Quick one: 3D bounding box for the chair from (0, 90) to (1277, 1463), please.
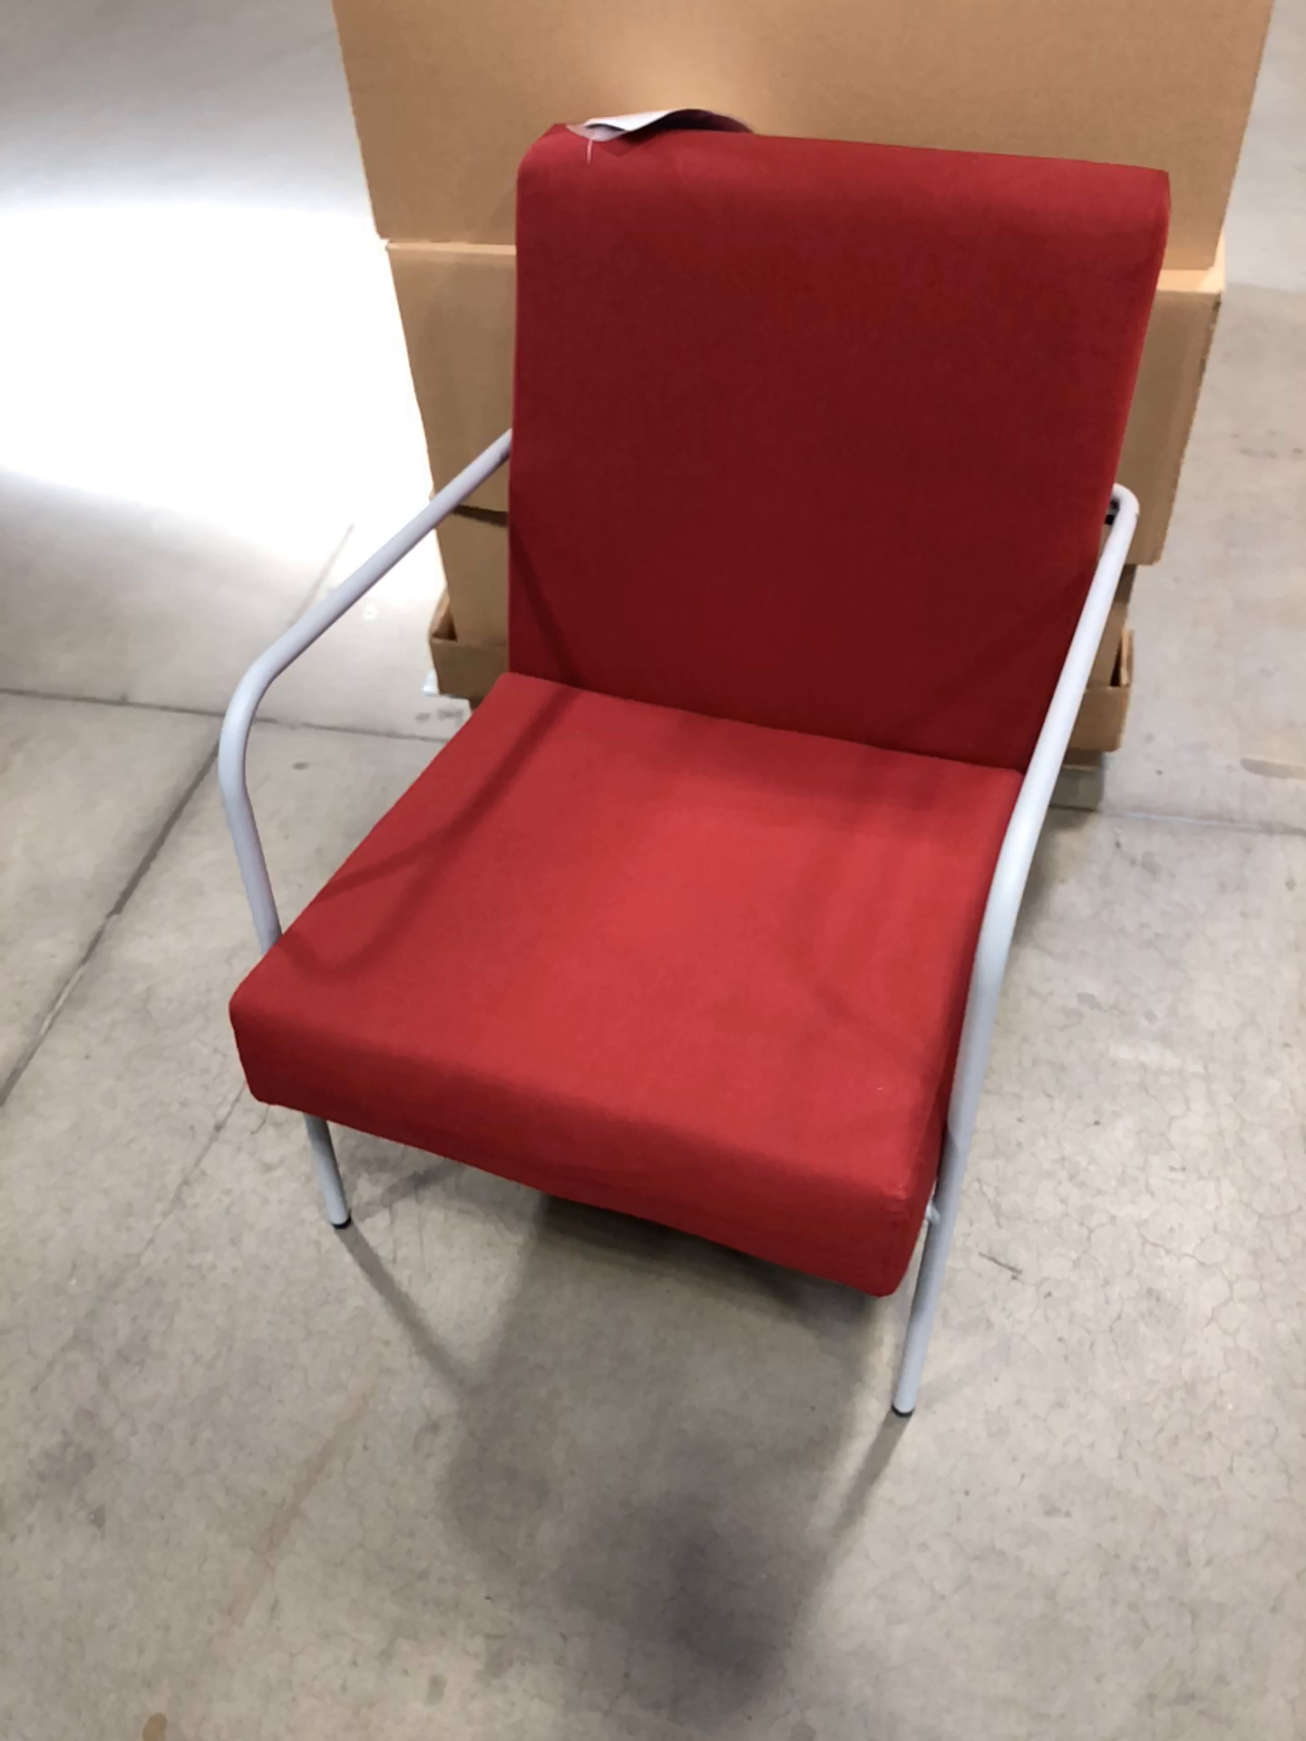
[{"bbox_3d":[0.065,-0.104,1.204,0.630,0.708,0.762,13,51,16],"label":"chair"}]
